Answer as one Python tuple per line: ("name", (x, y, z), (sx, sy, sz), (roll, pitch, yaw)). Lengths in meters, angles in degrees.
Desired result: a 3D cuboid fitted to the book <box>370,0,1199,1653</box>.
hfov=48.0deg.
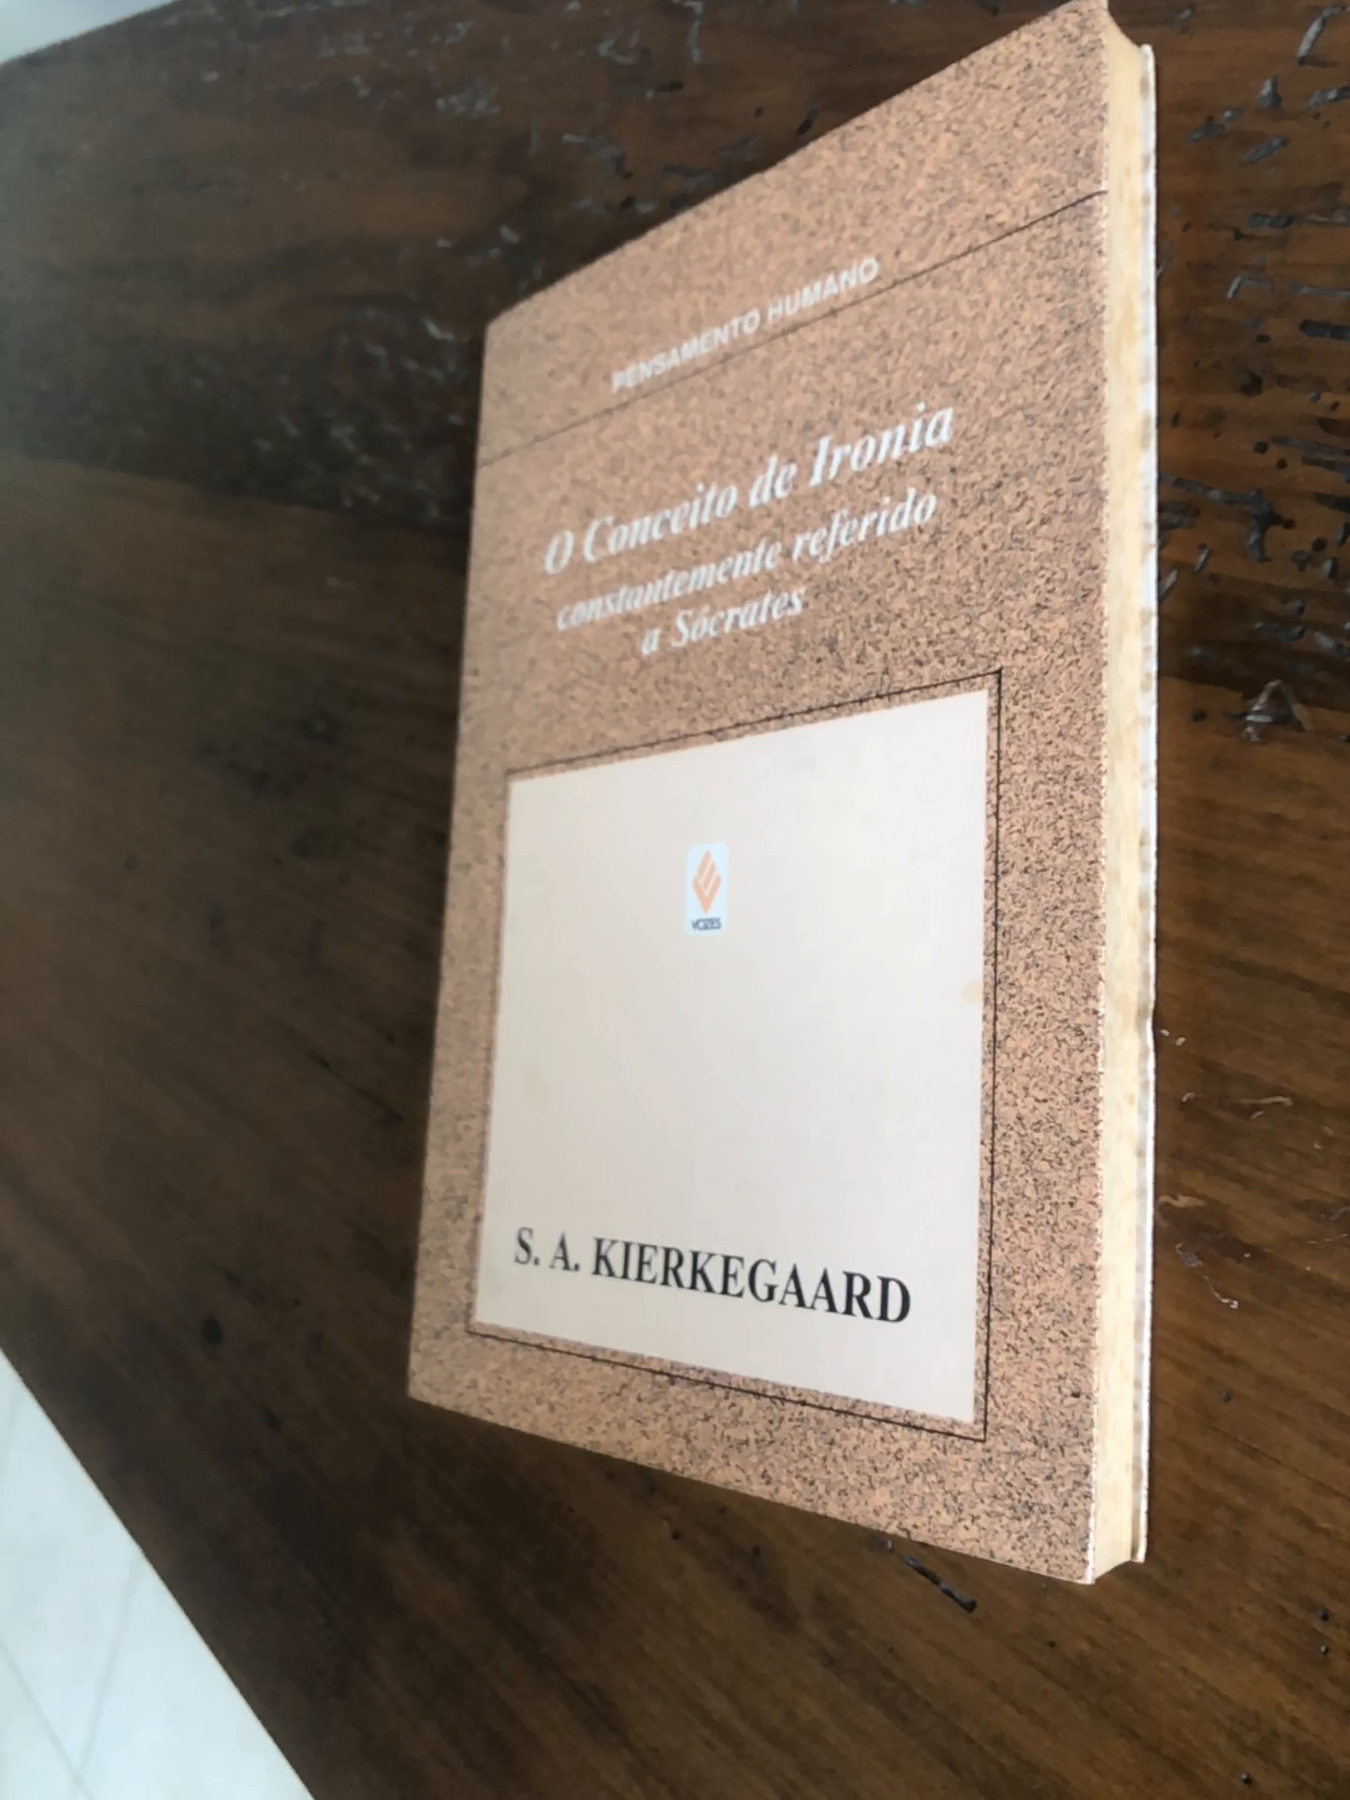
("book", (0.011, -0.017, 0.247), (0.145, 0.024, 0.220), (-5, 78, 45))
